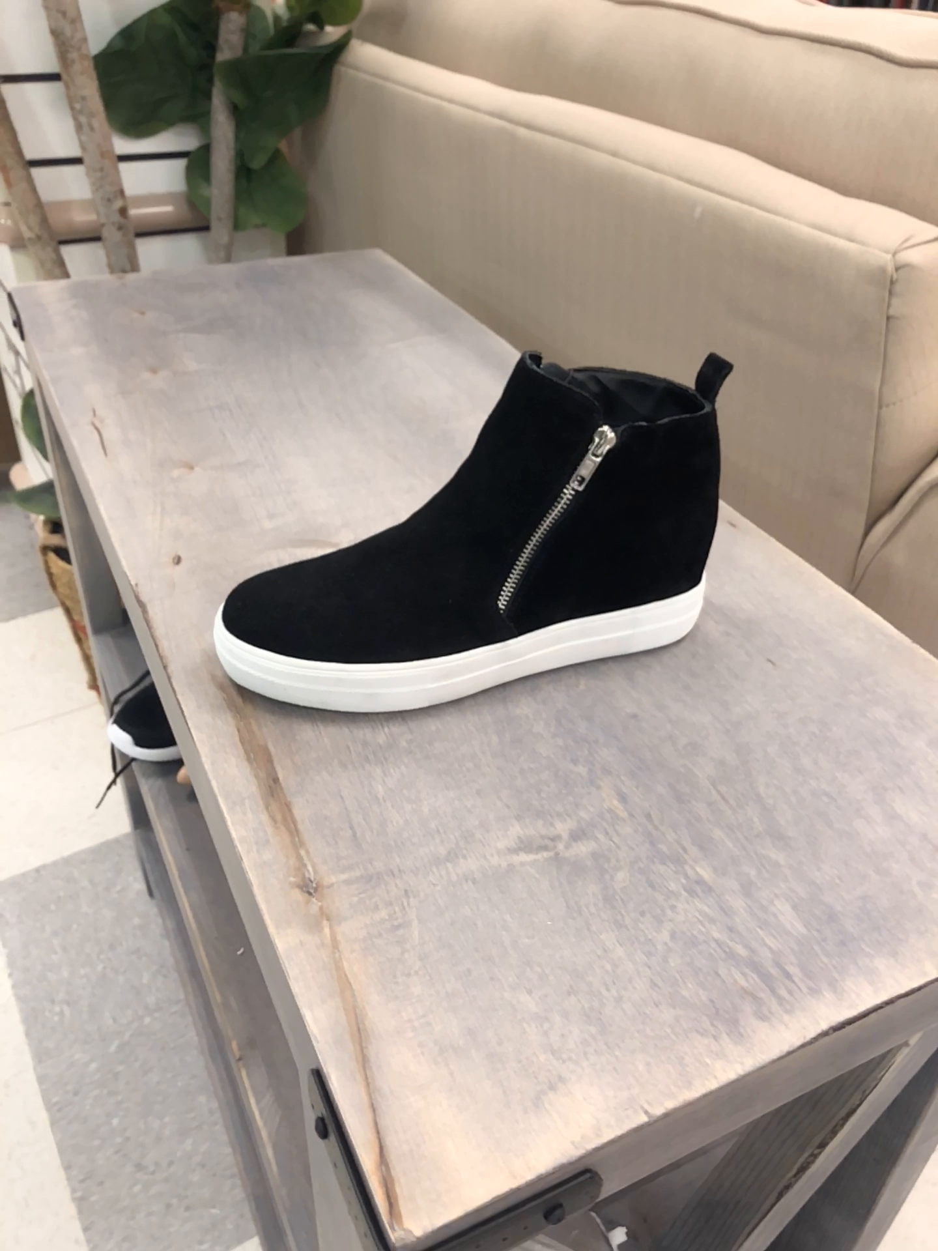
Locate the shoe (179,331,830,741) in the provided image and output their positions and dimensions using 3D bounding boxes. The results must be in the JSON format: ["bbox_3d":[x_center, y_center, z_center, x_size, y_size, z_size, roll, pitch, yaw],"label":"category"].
[{"bbox_3d":[0.012,-0.053,0.533,0.291,0.146,0.107,-8,36,-15],"label":"shoe"}]
